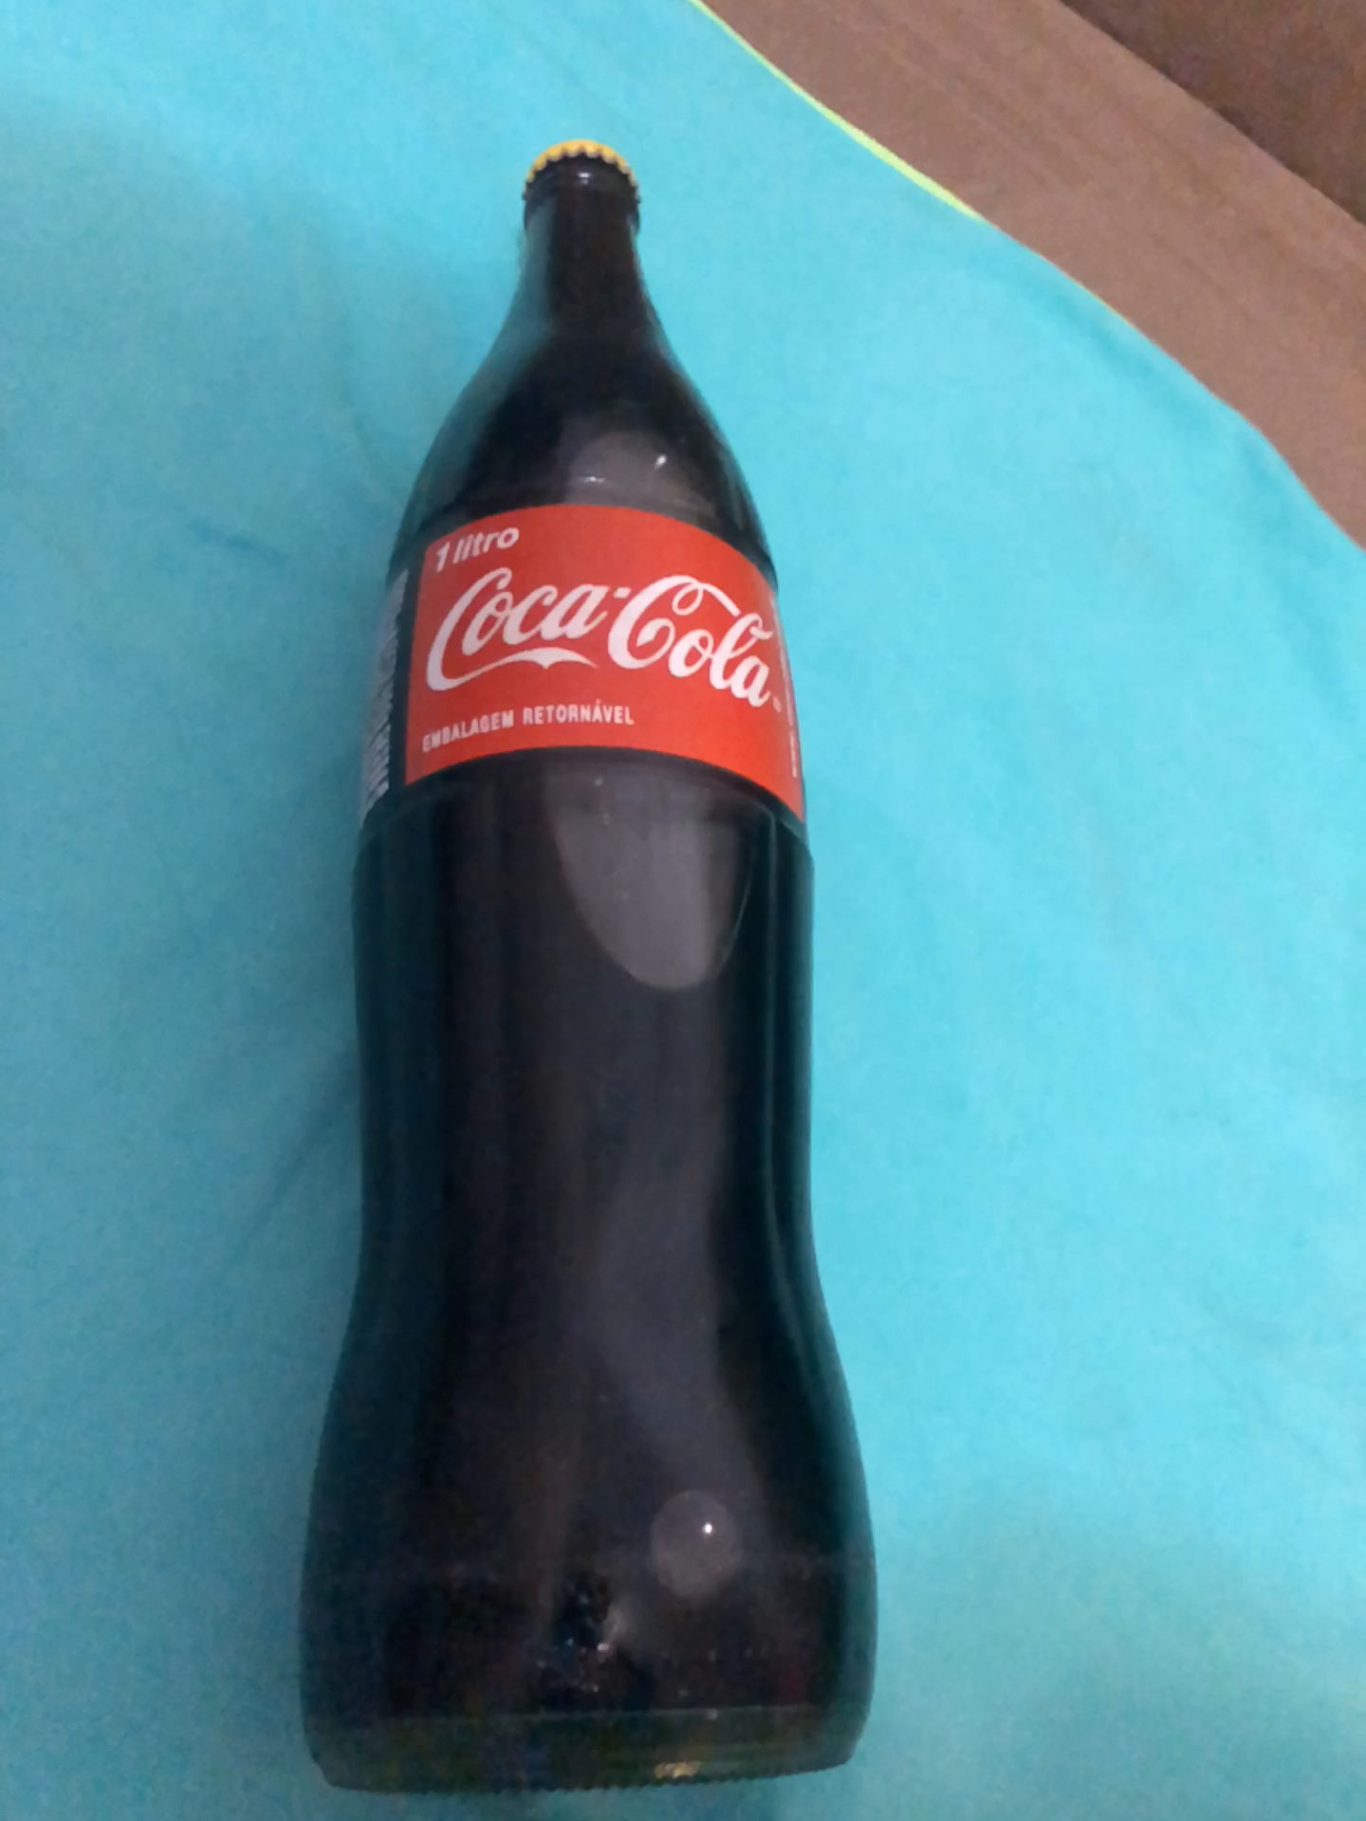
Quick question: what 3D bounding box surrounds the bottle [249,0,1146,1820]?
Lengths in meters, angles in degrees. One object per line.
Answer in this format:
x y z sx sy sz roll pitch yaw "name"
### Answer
-0.009 -0.035 0.283 0.100 0.070 0.361 8 61 -21 "bottle"
